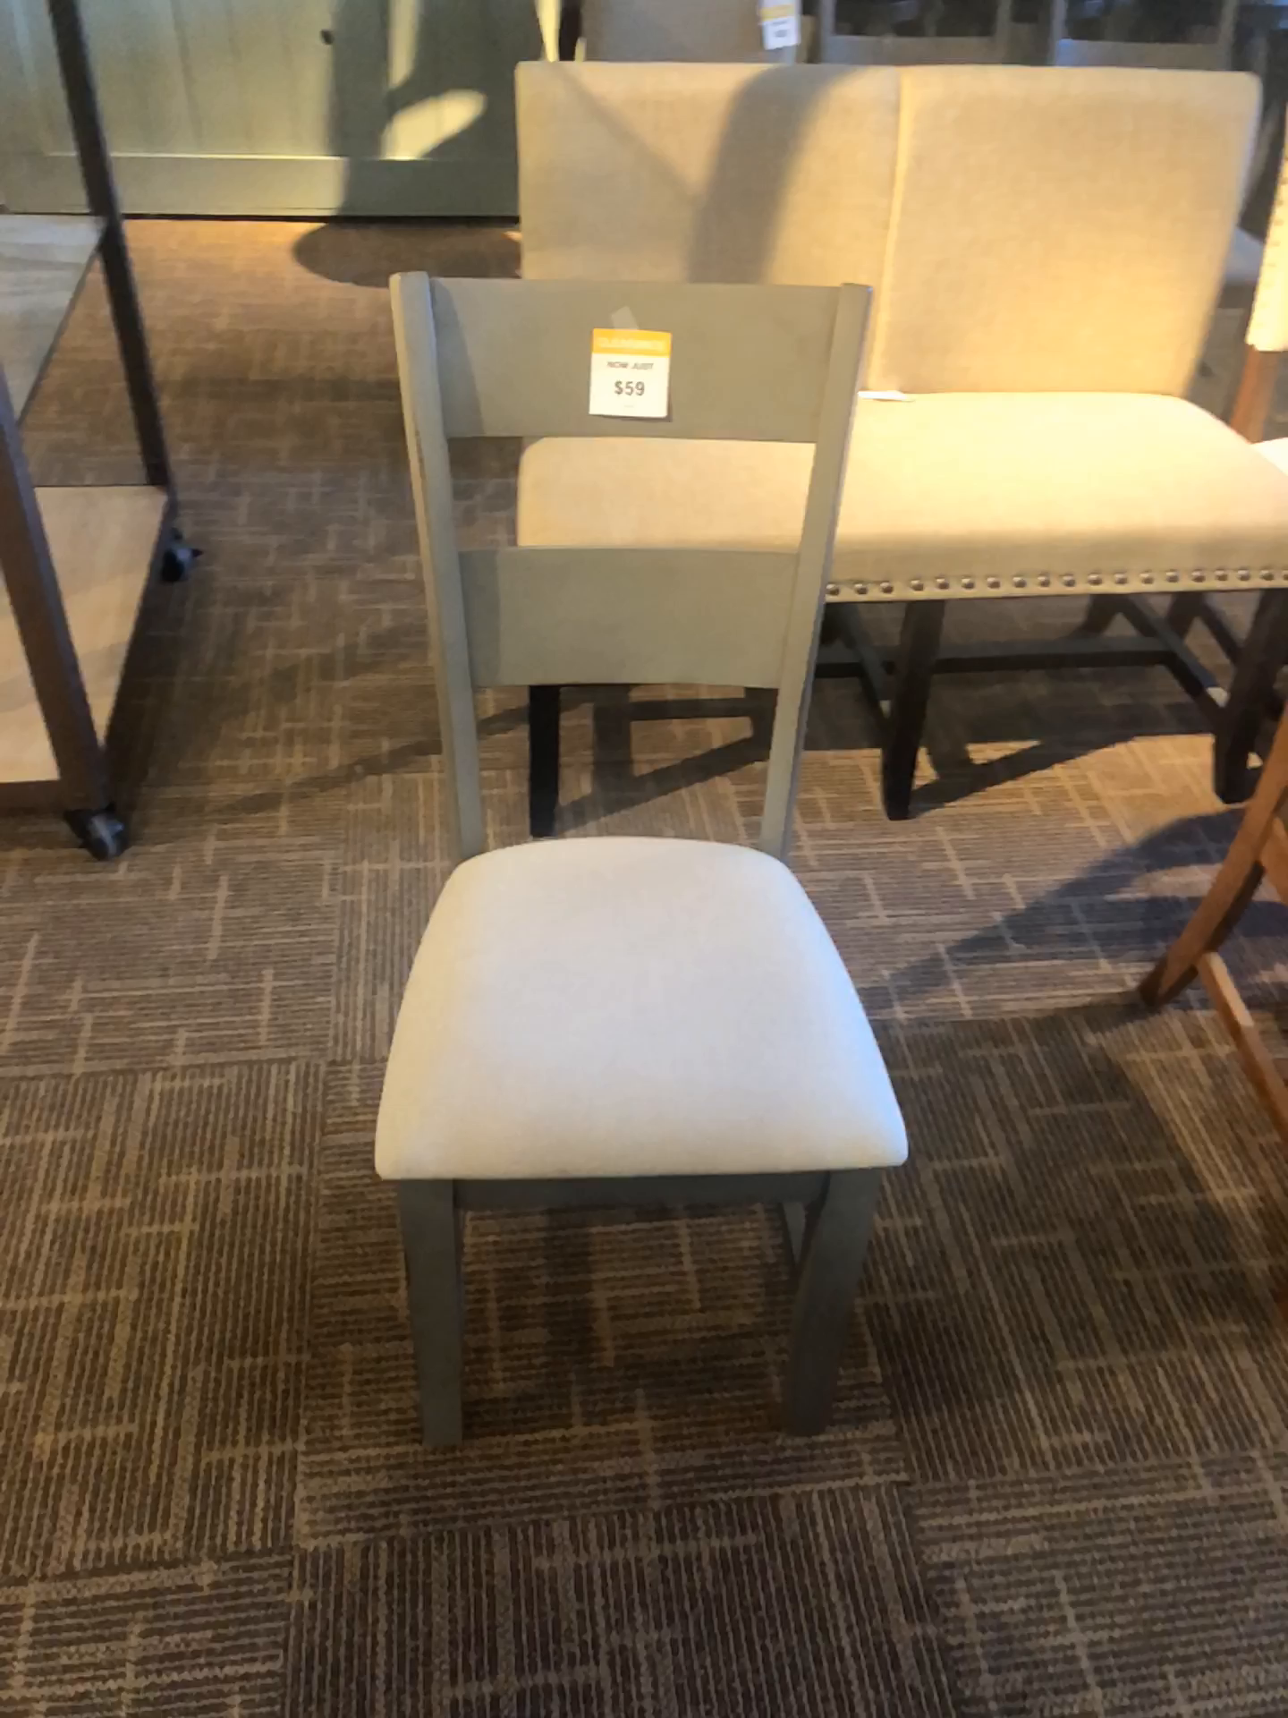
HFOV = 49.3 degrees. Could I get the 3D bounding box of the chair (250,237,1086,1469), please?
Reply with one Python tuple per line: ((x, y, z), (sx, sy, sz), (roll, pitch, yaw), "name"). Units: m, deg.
((-0.020, 0.027, 1.324), (0.460, 0.965, 0.633), (0, 41, -4), "chair")
